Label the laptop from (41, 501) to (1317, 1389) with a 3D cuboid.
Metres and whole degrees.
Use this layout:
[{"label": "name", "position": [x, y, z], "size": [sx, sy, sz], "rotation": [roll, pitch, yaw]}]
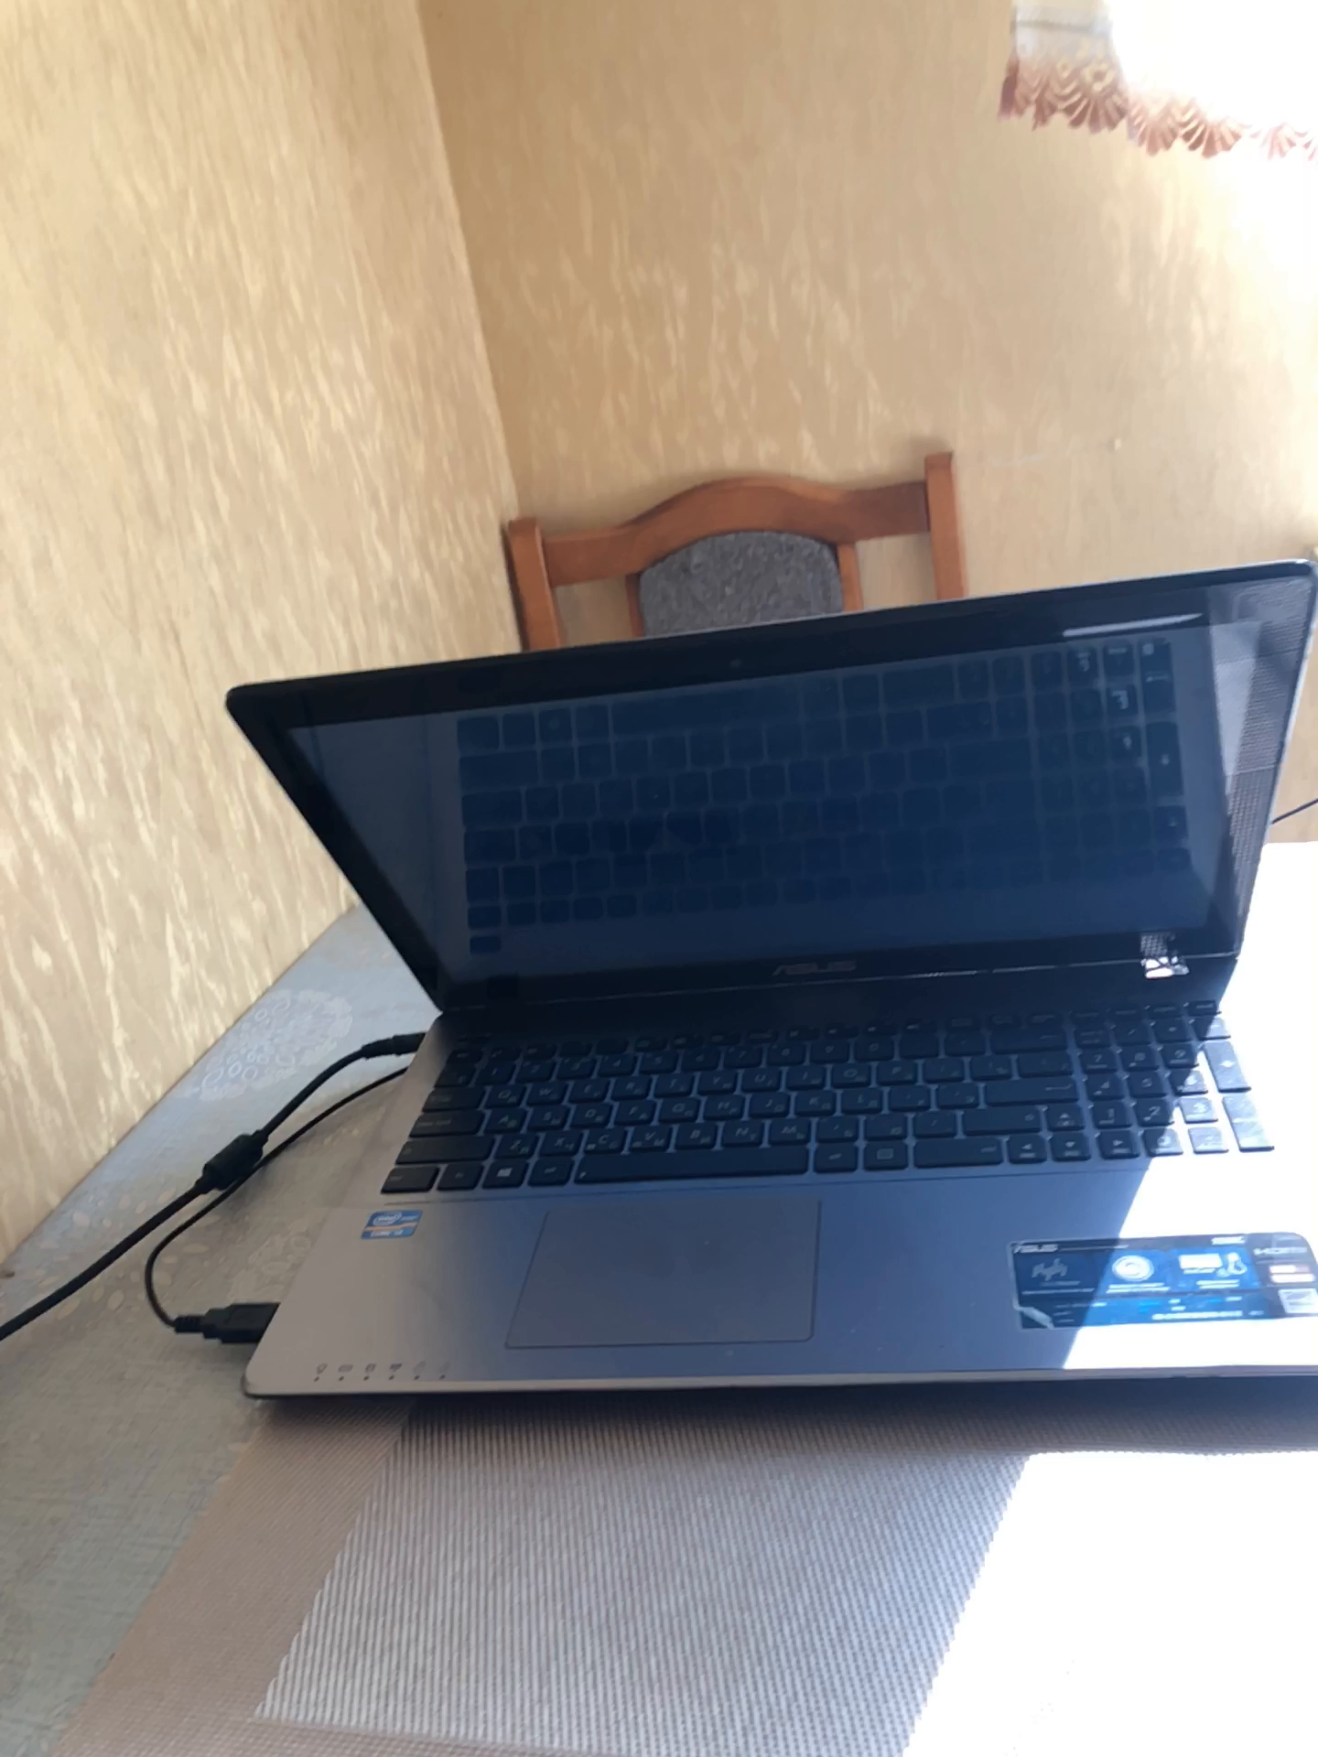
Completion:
[{"label": "laptop", "position": [0.038, 0.013, 0.522], "size": [0.369, 0.196, 0.243], "rotation": [-6, 24, 11]}]
